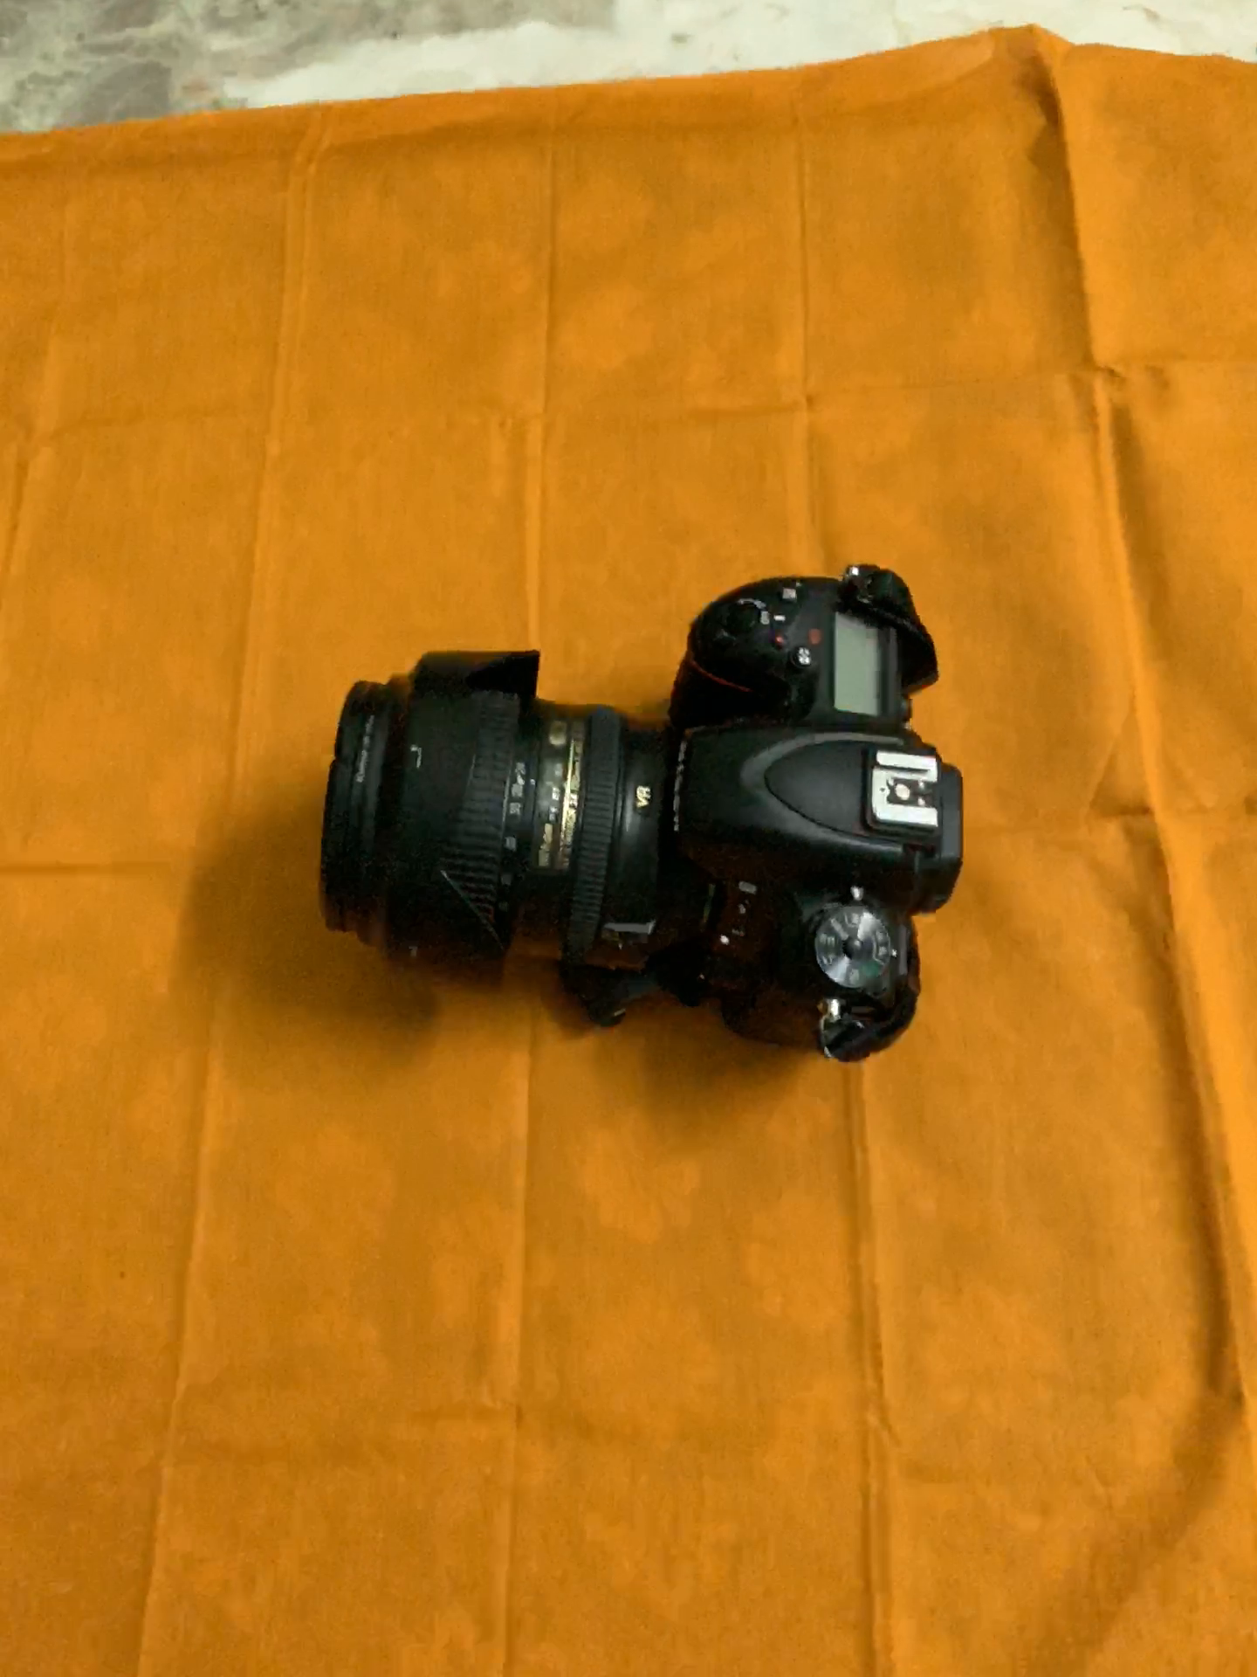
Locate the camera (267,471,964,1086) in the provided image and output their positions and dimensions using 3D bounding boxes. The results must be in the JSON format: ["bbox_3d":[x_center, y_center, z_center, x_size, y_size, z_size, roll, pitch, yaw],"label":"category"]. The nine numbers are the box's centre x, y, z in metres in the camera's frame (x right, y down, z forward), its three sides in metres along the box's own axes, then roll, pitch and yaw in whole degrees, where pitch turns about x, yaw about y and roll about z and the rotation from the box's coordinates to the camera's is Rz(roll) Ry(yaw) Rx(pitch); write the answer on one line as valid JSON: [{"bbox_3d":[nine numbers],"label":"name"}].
[{"bbox_3d":[0.003,-0.013,0.390,0.170,0.110,0.152,1,70,5],"label":"camera"}]
